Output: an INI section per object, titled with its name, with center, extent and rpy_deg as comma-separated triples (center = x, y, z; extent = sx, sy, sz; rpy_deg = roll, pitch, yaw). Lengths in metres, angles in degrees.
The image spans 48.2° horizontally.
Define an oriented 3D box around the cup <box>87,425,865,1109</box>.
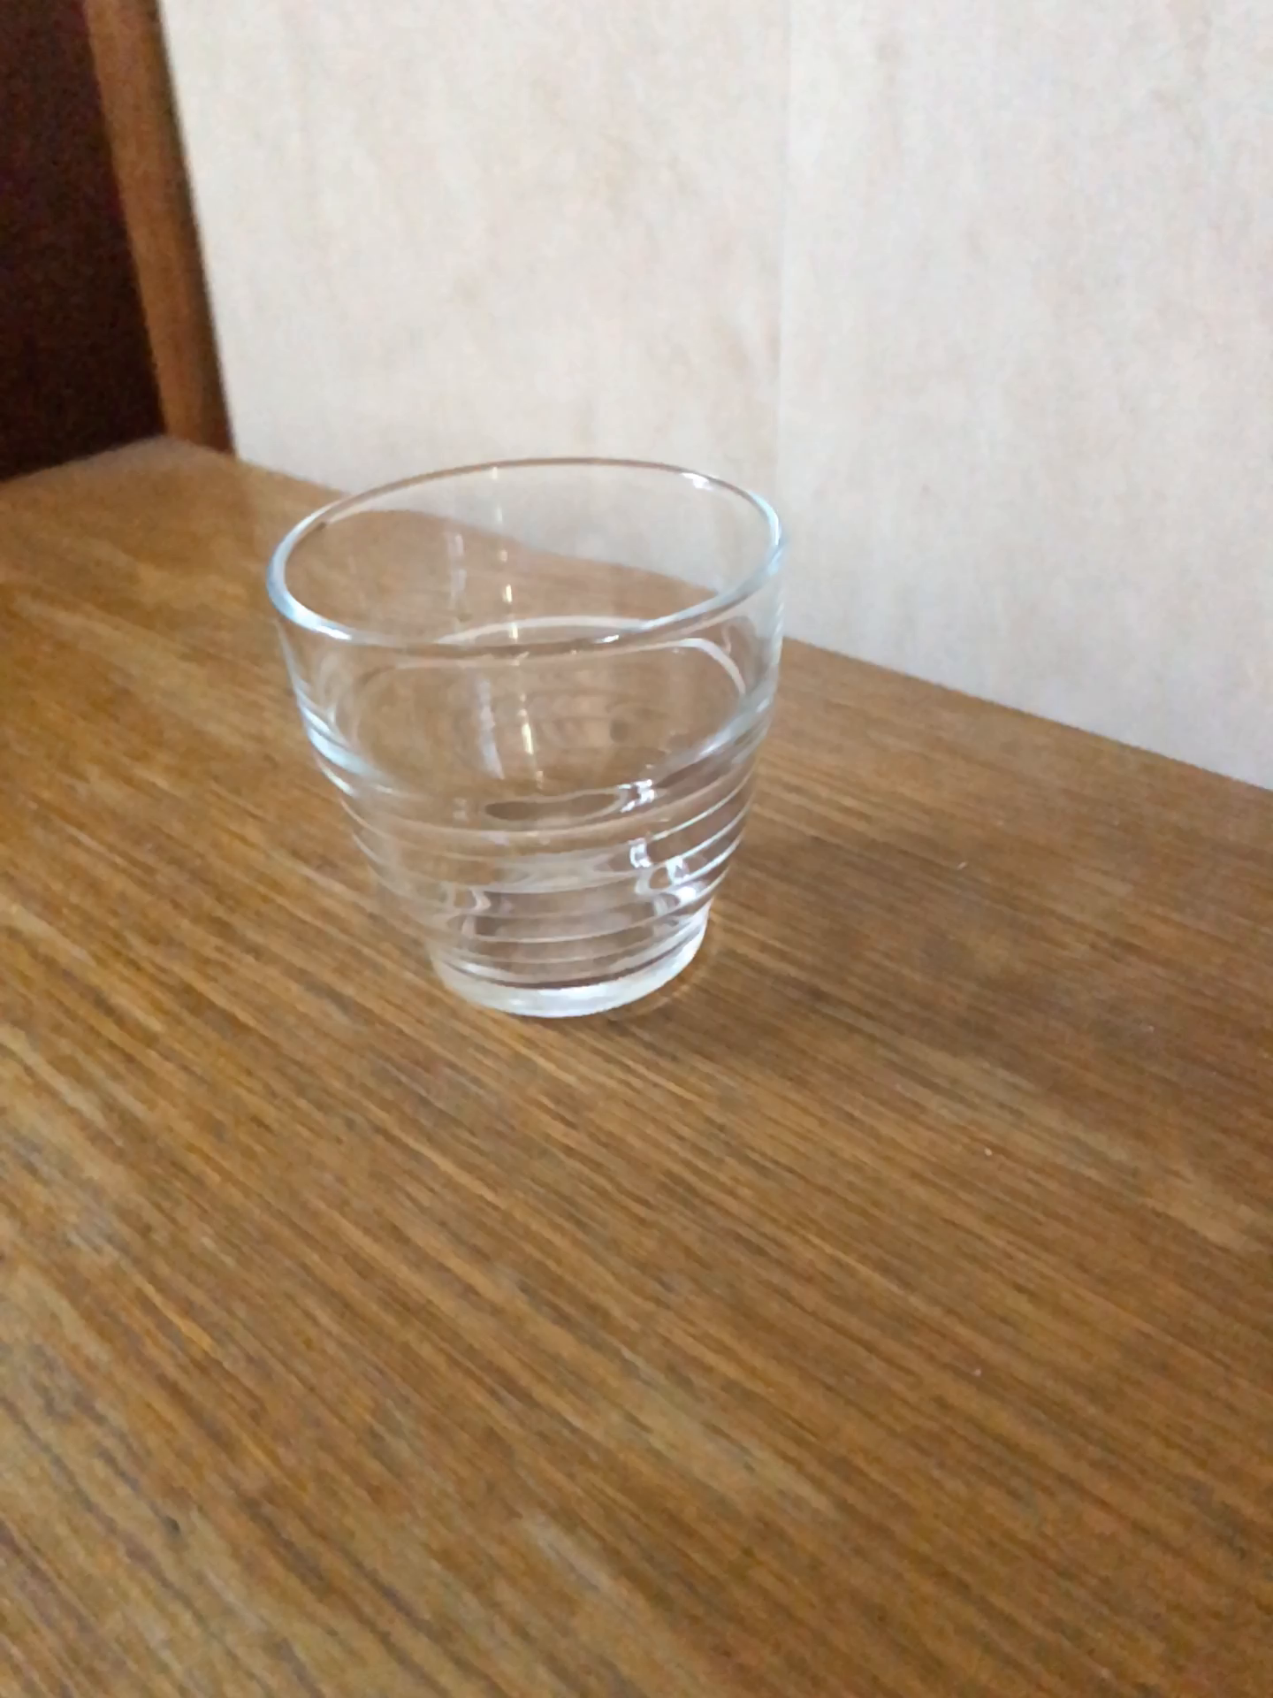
[cup]
center = -0.016, -0.019, 0.212
extent = 0.080, 0.060, 0.081
rpy_deg = -1, 32, 1
